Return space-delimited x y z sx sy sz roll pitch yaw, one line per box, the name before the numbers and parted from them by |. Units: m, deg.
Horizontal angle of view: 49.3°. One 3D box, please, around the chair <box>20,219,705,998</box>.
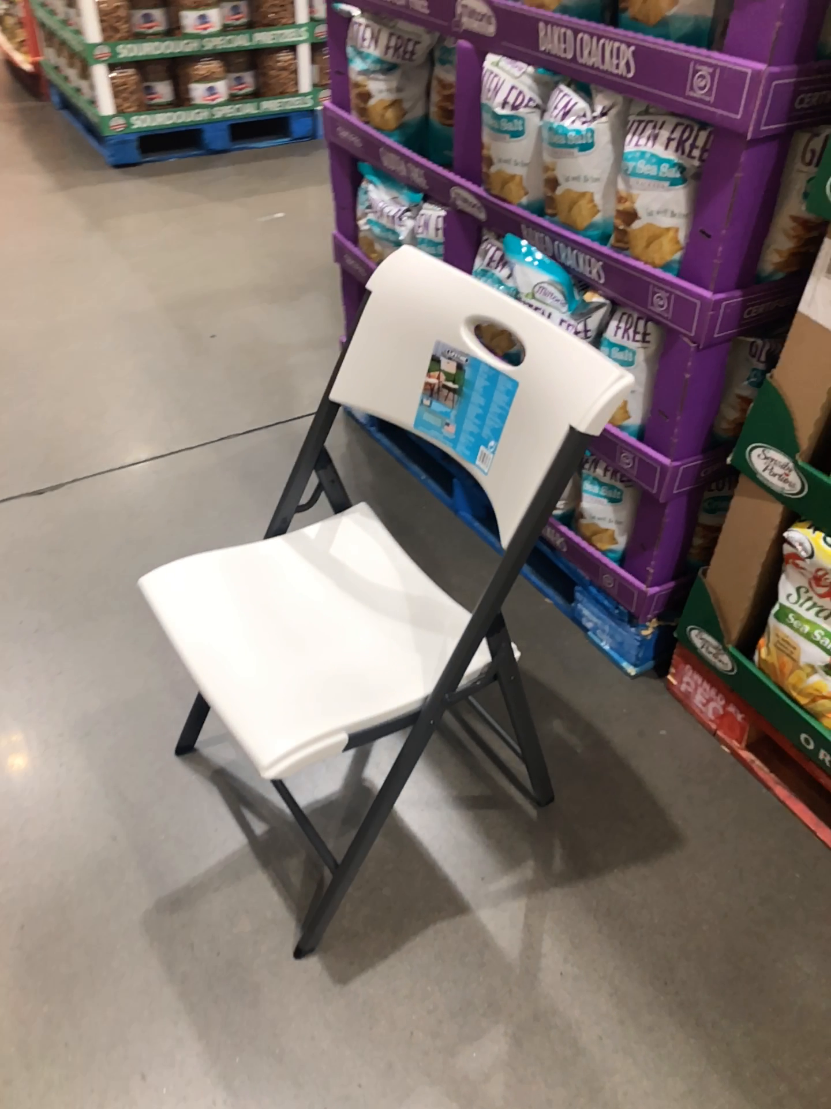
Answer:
chair | -0.084 0.056 1.299 0.595 0.790 0.547 -23 45 -26
